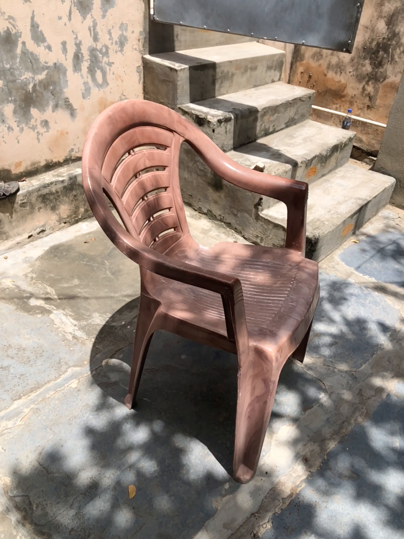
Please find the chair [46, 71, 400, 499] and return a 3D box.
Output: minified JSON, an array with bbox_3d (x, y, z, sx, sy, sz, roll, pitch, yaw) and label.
[{"bbox_3d":[0.070,0.000,1.124,0.540,0.766,0.583,18,37,18],"label":"chair"}]
